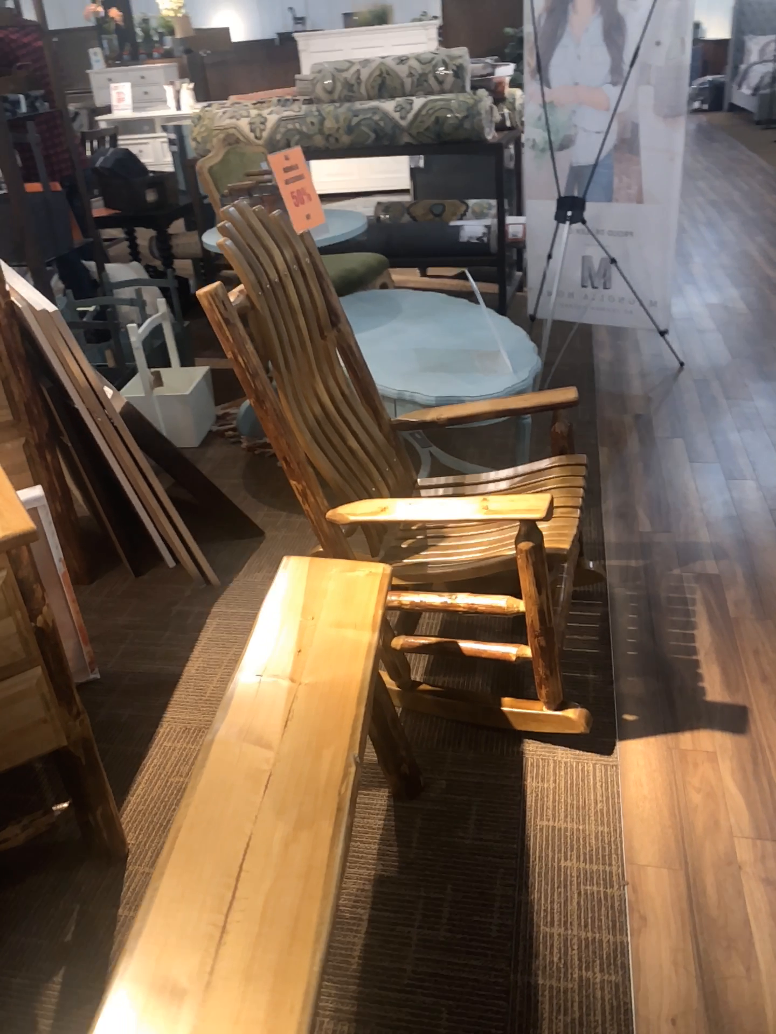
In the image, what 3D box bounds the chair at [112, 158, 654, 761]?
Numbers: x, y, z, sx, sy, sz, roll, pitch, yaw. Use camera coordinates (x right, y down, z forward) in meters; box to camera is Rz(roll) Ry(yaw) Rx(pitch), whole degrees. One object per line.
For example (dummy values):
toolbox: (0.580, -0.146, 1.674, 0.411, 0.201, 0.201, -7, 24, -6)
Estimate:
chair: (0.084, -0.167, 1.887, 0.884, 1.049, 0.721, 4, 30, 15)
